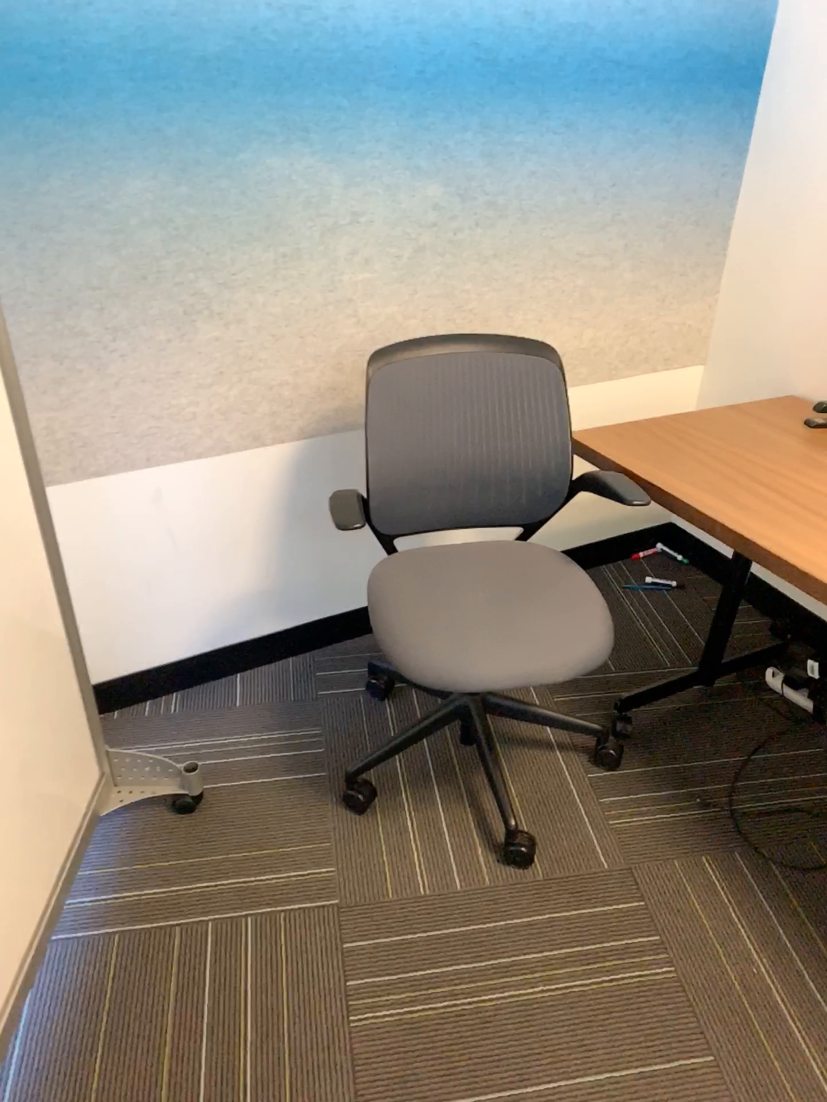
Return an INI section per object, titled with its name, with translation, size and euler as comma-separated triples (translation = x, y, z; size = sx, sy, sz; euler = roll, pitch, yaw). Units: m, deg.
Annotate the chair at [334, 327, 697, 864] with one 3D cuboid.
[chair]
translation = 0.131, 0.078, 1.735
size = 0.540, 0.935, 0.533
euler = -2, 29, -7
